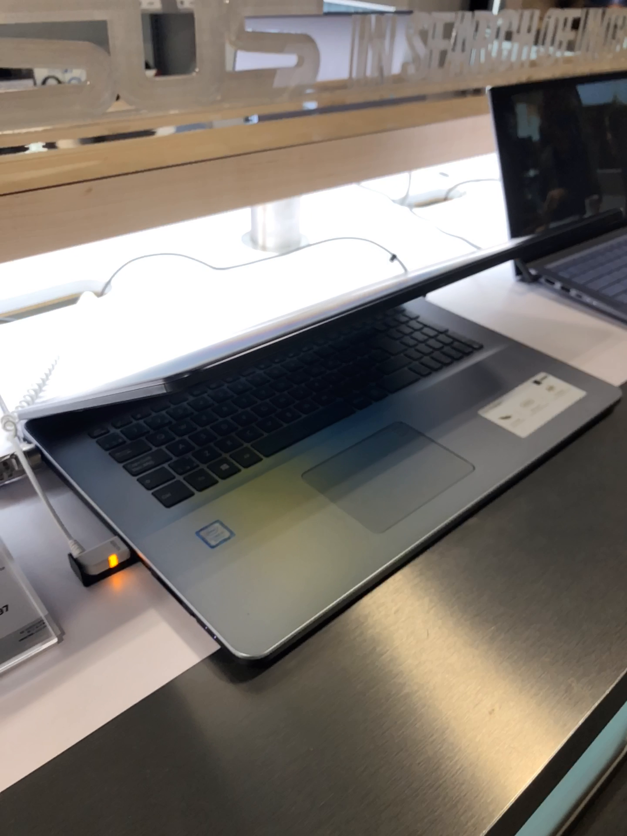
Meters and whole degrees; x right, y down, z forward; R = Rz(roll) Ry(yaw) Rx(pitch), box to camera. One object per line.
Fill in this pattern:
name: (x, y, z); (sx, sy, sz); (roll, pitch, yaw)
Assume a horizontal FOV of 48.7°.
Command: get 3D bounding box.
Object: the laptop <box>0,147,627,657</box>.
laptop: (0.020, -0.066, 0.505); (0.392, 0.144, 0.260); (-26, 45, -35)
